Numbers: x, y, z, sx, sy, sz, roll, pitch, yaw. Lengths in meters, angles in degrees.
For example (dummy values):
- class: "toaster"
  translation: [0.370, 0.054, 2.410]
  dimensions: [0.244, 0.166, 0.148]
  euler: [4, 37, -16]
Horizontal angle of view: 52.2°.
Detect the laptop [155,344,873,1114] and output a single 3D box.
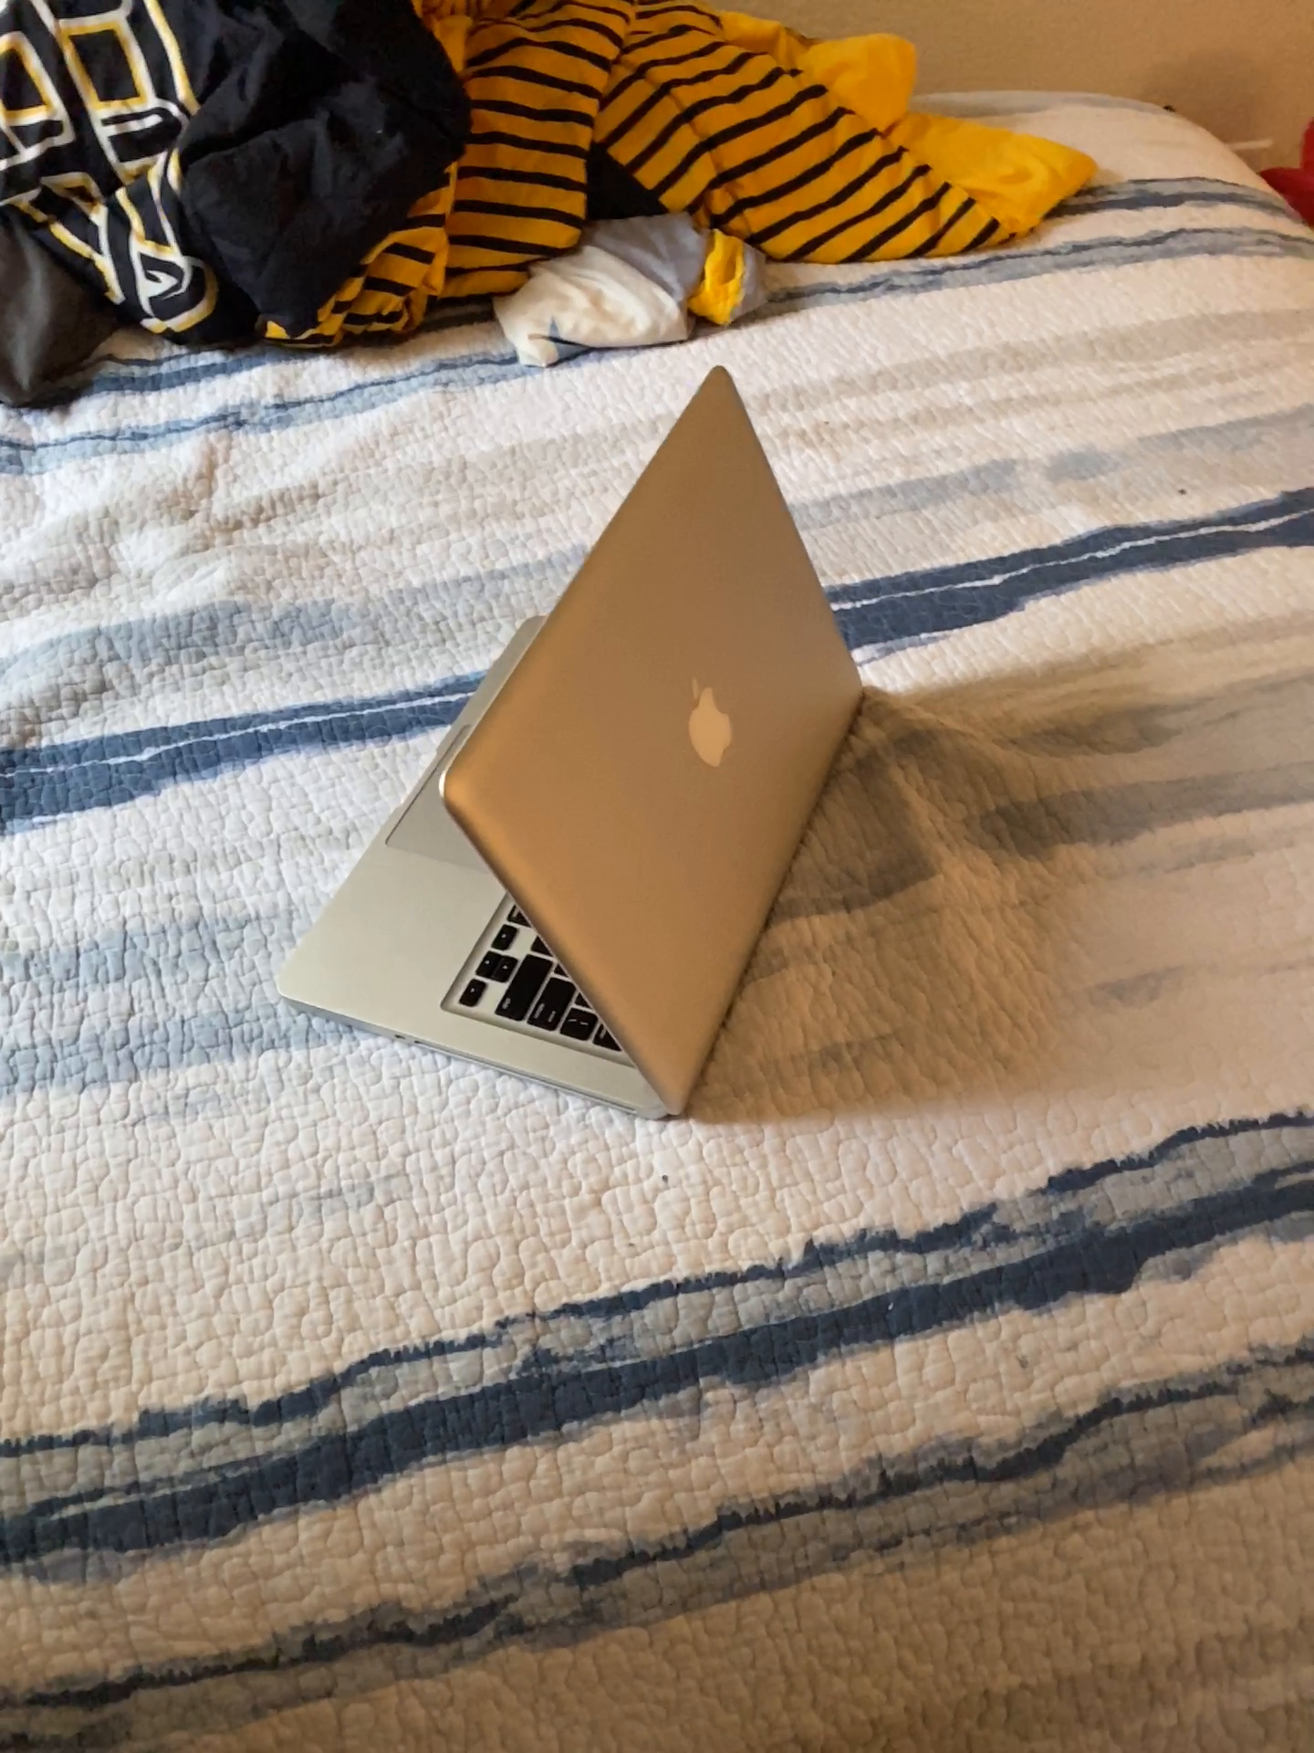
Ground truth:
- class: "laptop"
  translation: [-0.046, -0.091, 0.688]
  dimensions: [0.220, 0.191, 0.316]
  euler: [15, 53, 17]
